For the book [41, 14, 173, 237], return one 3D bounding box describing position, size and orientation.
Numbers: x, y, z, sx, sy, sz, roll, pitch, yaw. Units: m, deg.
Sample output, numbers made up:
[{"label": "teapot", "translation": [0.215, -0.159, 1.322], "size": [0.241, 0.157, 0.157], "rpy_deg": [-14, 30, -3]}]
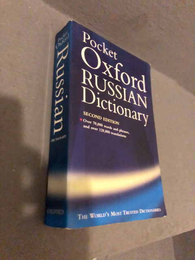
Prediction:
[{"label": "book", "translation": [0.017, -0.002, 0.233], "size": [0.138, 0.032, 0.195], "rpy_deg": [14, 67, -38]}]
